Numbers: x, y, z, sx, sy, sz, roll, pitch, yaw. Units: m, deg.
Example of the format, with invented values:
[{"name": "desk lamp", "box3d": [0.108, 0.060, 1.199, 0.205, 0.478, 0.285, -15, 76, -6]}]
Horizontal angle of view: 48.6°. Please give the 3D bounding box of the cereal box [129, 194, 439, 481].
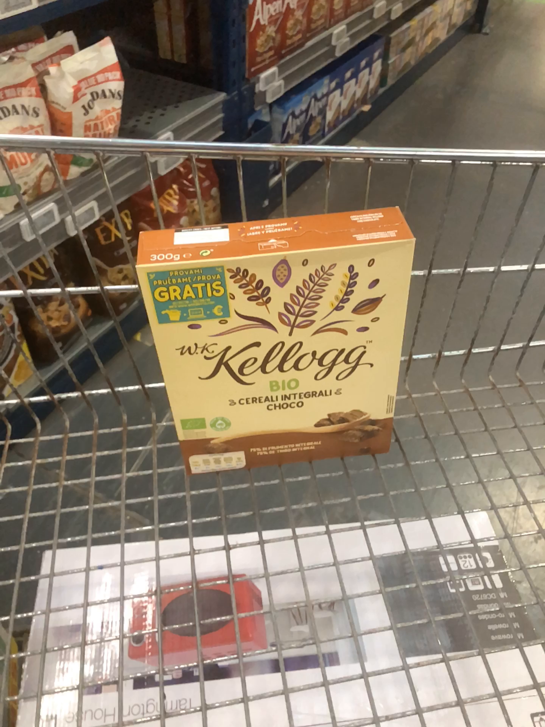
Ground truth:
[{"name": "cereal box", "box3d": [0.011, -0.010, 0.482, 0.200, 0.219, 0.060, -7, 43, -3]}]
